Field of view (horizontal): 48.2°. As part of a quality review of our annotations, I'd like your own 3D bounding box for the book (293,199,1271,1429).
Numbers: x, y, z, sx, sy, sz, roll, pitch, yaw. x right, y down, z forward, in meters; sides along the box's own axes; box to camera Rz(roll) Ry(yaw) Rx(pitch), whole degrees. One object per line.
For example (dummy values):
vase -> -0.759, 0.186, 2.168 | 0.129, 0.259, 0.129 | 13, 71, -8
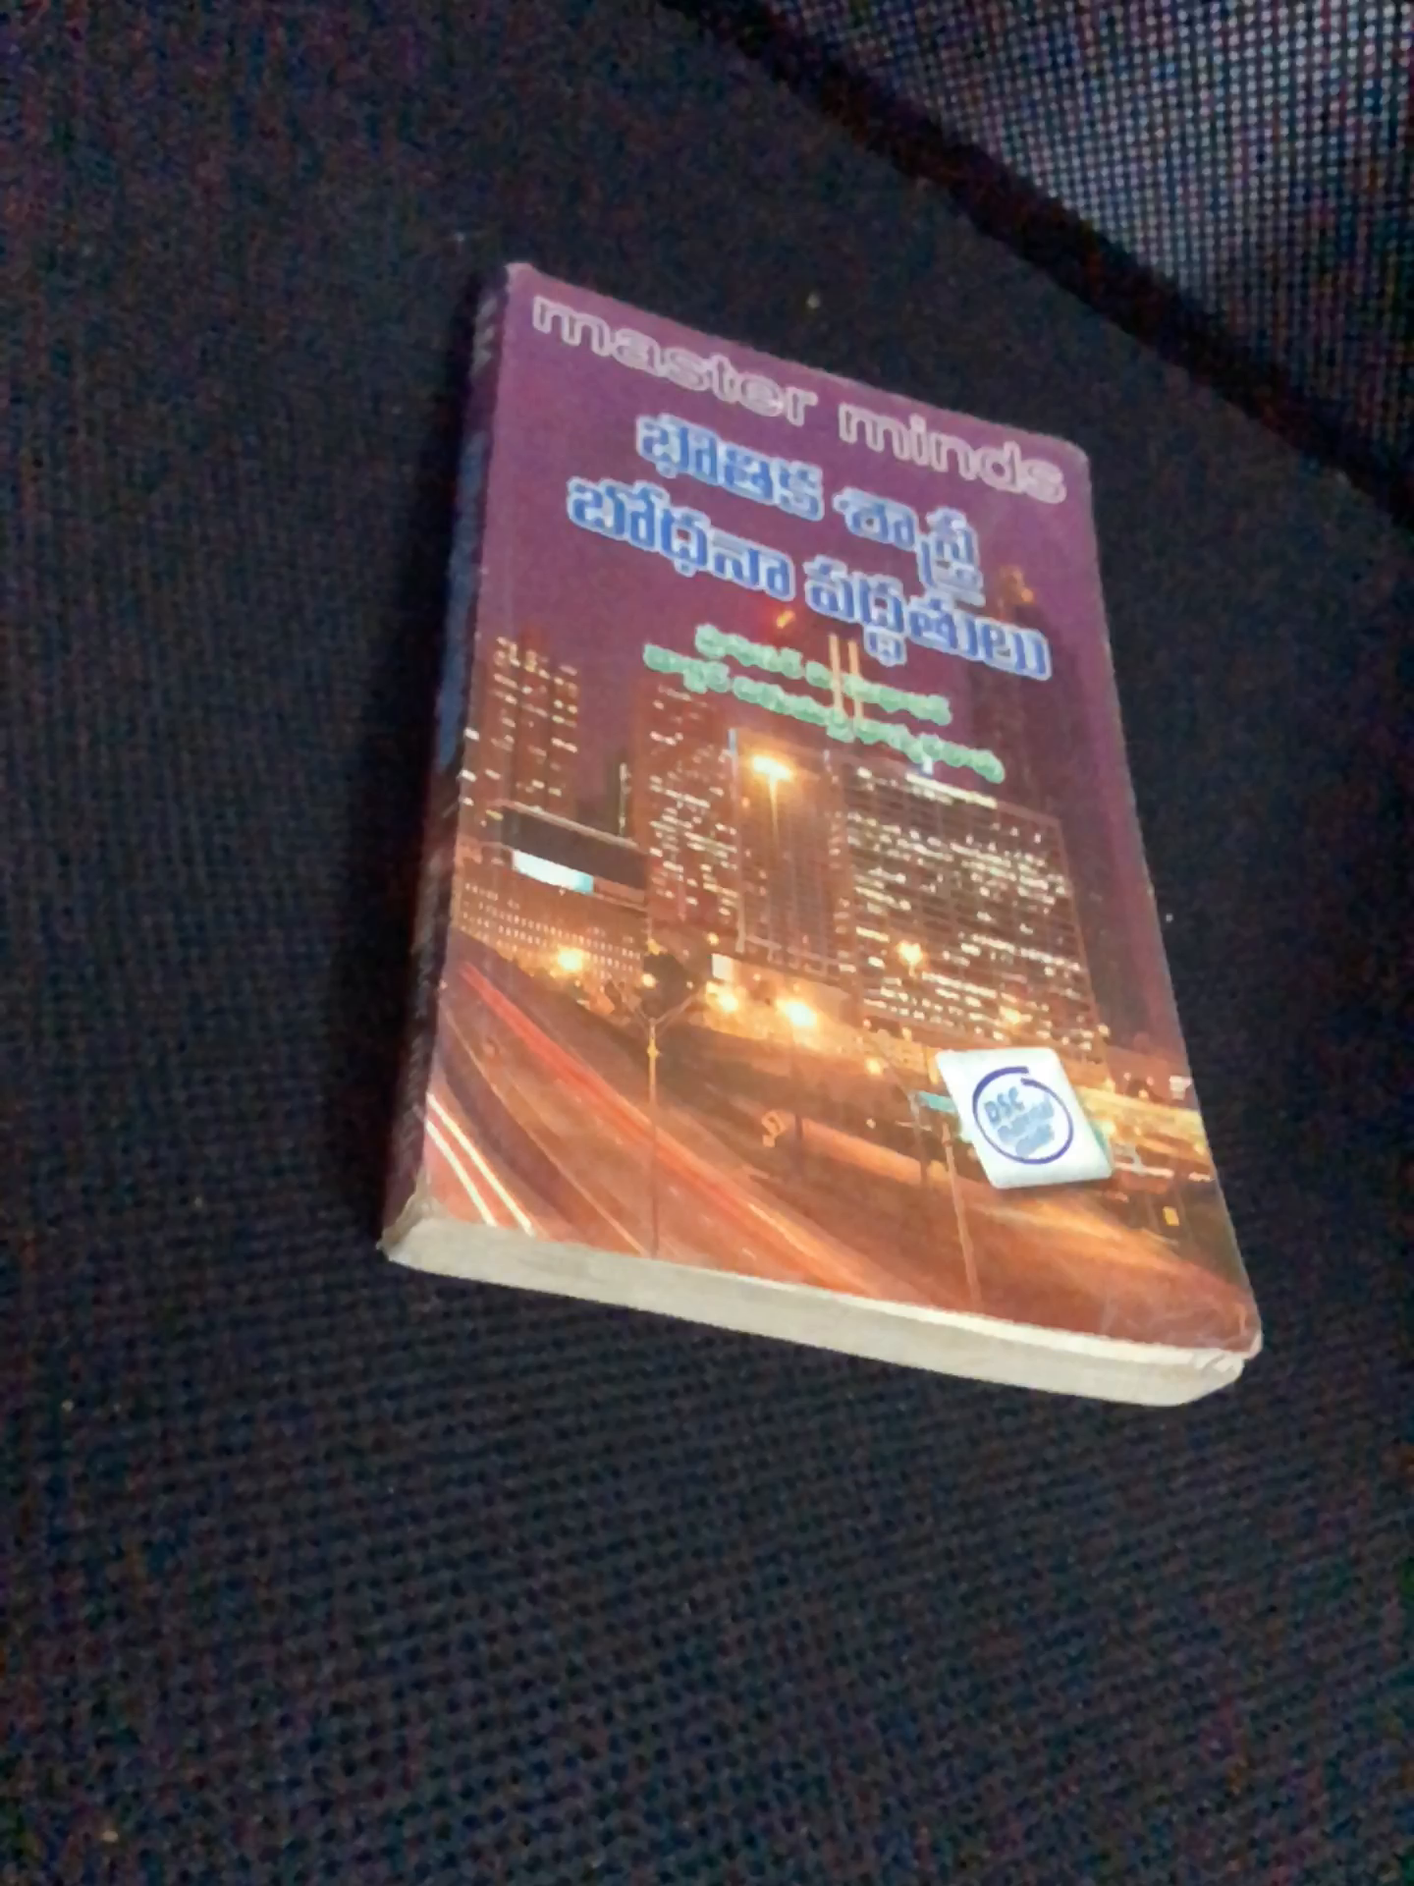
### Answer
book -> 0.014, -0.033, 0.289 | 0.146, 0.027, 0.219 | 16, 51, -23
